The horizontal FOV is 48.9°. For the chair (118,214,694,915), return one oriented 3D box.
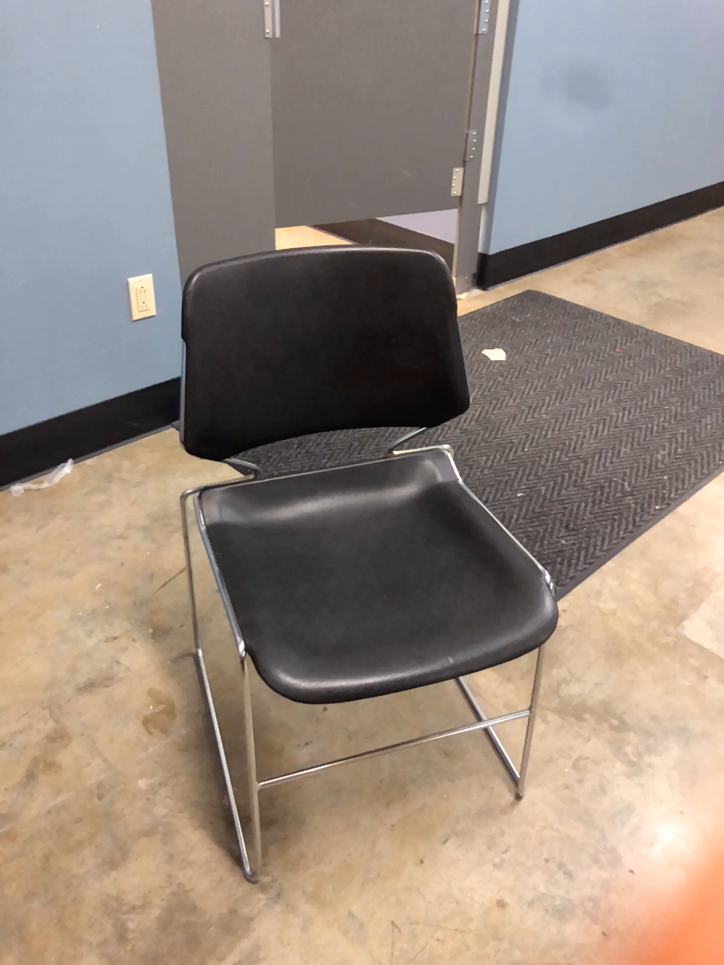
[{"bbox_3d":[-0.006,0.085,1.174,0.524,0.765,0.552,-10,36,-18],"label":"chair"}]
